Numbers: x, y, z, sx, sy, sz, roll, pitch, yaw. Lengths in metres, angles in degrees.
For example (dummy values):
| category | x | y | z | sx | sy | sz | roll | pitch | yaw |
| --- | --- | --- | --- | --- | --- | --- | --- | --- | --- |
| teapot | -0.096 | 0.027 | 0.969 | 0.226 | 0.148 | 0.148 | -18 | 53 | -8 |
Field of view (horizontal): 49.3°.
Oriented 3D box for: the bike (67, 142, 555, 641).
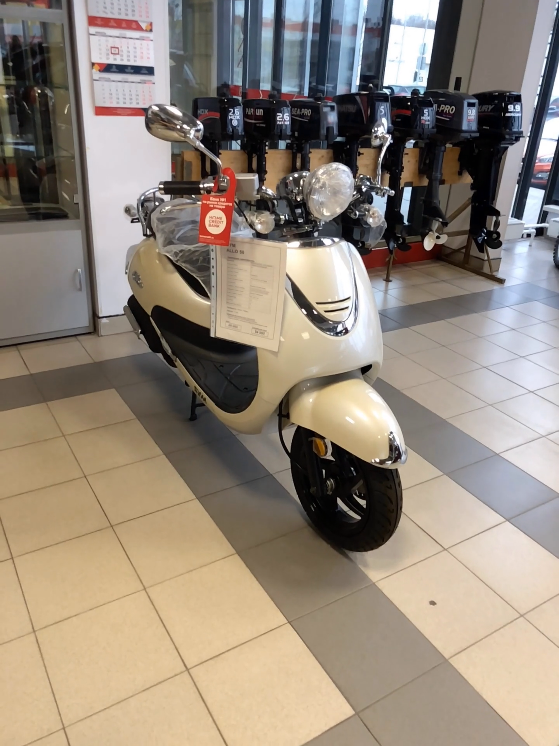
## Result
| category | x | y | z | sx | sy | sz | roll | pitch | yaw |
| --- | --- | --- | --- | --- | --- | --- | --- | --- | --- |
| bike | -0.092 | -0.169 | 2.232 | 0.806 | 0.963 | 1.688 | -12 | 32 | -30 |
